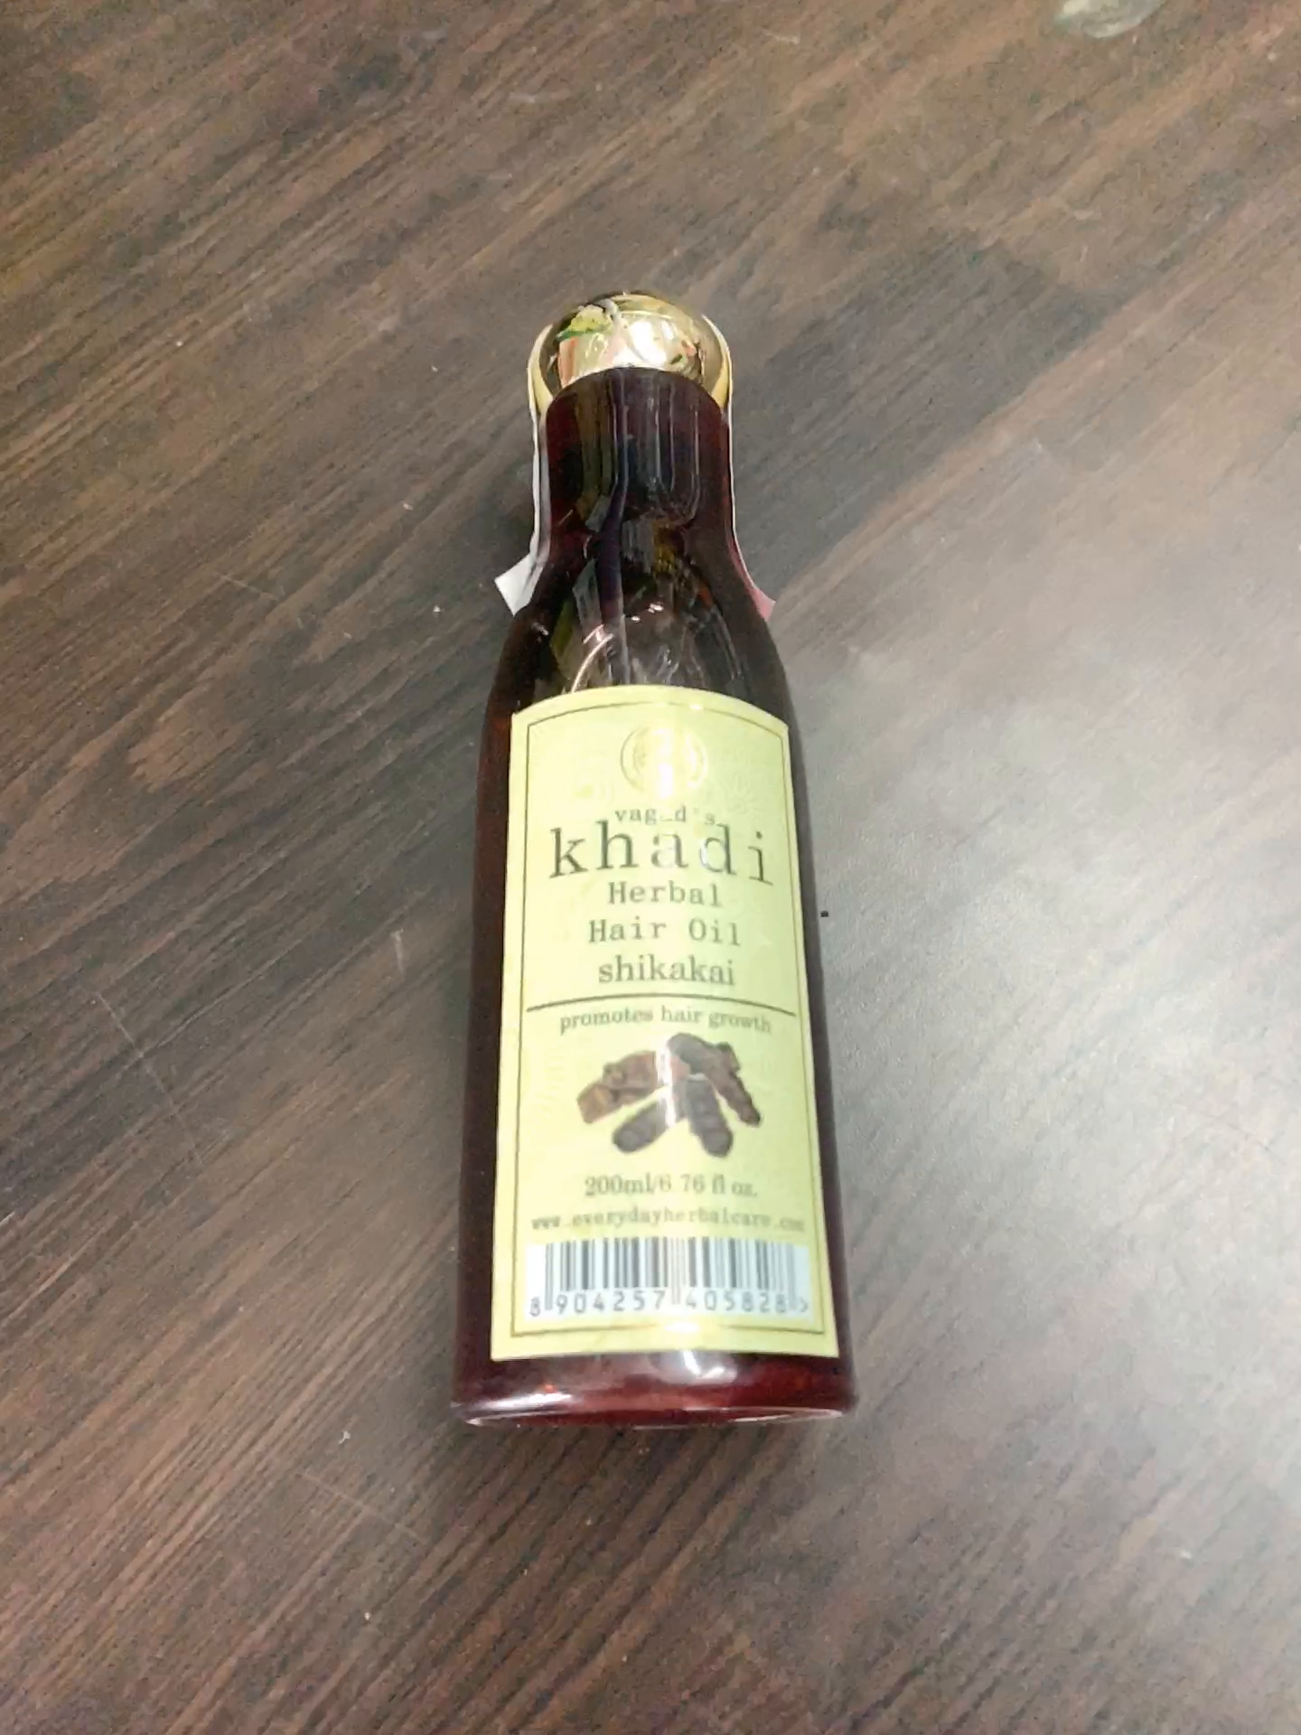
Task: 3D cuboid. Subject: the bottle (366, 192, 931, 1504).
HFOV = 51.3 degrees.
[{"bbox_3d":[-0.001,-0.010,0.180,0.050,0.050,0.170,0,64,0],"label":"bottle"}]
